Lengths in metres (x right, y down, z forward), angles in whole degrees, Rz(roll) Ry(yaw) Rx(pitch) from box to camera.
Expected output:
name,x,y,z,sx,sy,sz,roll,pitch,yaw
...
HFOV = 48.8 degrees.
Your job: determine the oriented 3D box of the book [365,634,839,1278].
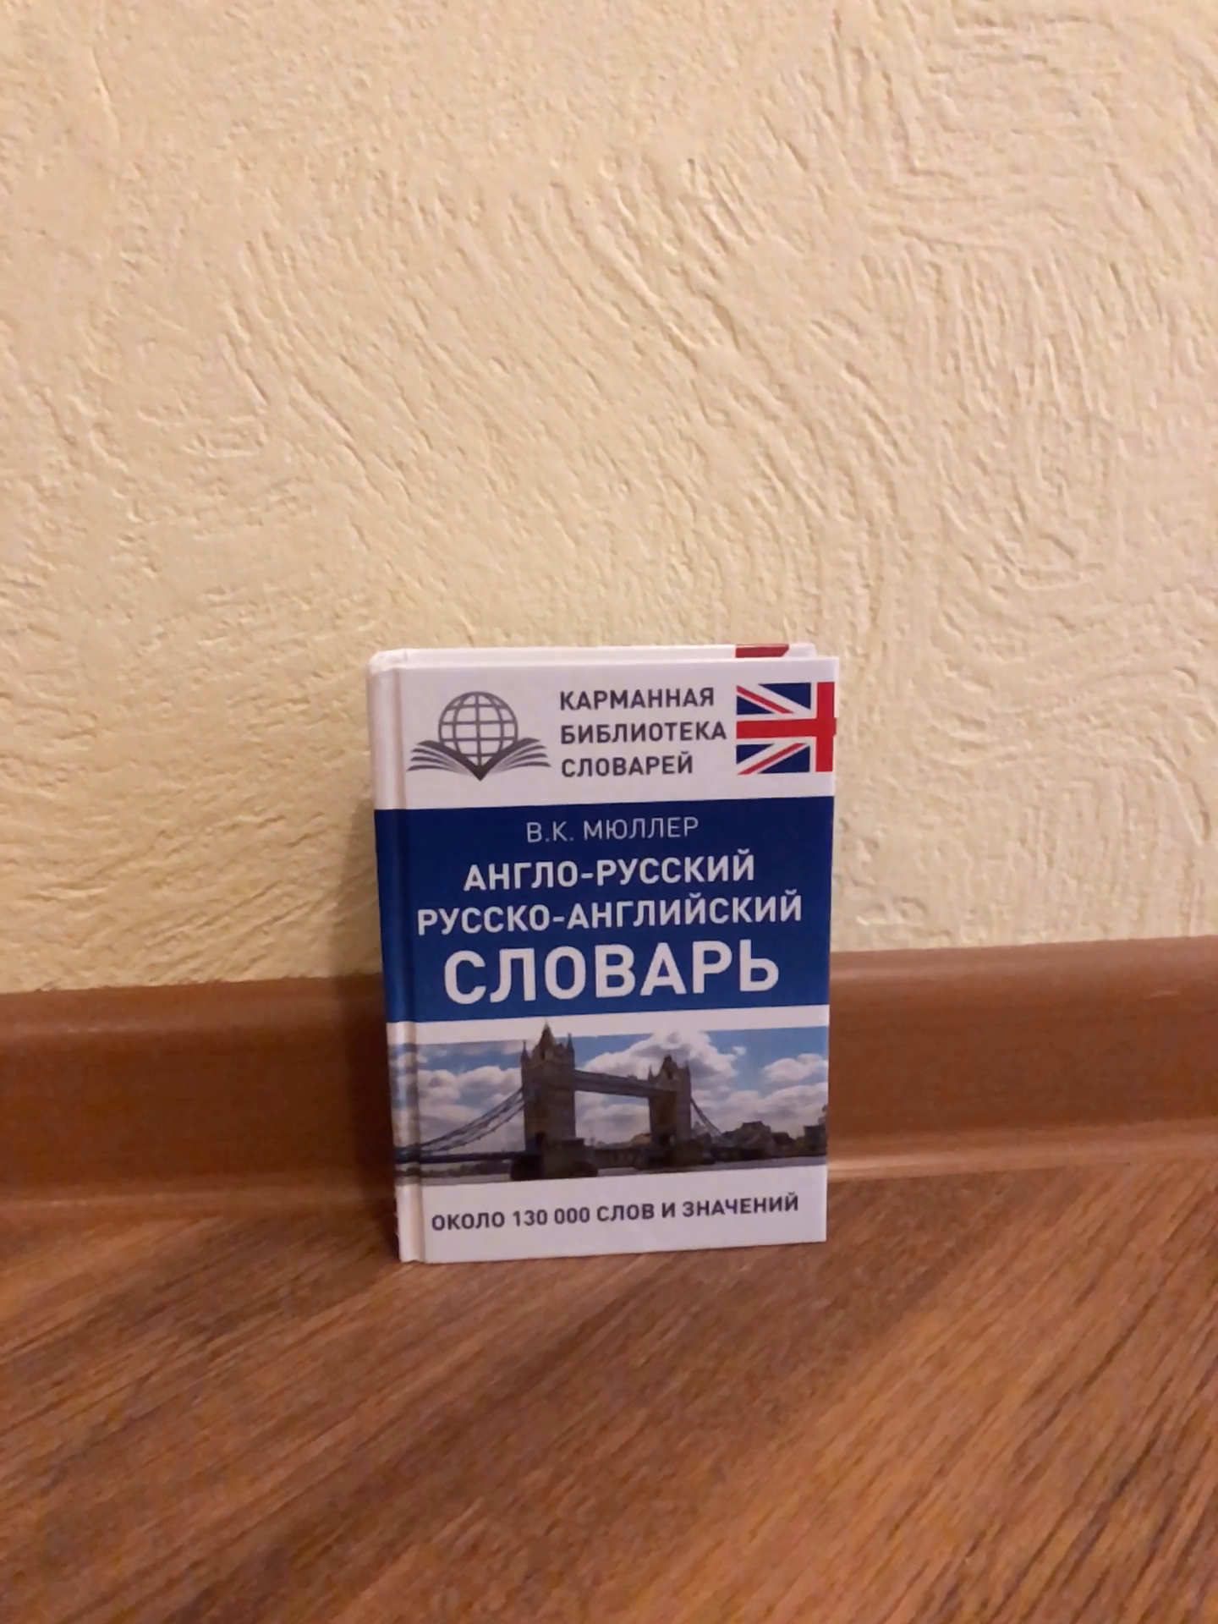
name,x,y,z,sx,sy,sz,roll,pitch,yaw
book,-0.001,0.034,0.325,0.102,0.146,0.037,-2,15,-4
